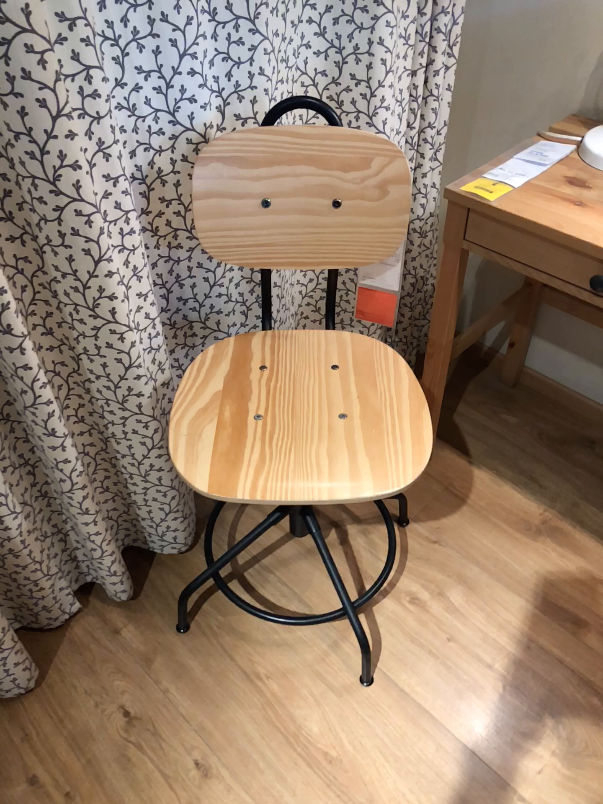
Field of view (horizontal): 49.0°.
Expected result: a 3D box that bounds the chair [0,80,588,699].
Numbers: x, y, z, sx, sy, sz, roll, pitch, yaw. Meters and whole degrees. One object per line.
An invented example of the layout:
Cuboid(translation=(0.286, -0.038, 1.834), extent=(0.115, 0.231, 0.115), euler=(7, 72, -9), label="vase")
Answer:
Cuboid(translation=(-0.007, 0.016, 1.057), extent=(0.520, 0.814, 0.554), euler=(-1, 43, 0), label="chair")
